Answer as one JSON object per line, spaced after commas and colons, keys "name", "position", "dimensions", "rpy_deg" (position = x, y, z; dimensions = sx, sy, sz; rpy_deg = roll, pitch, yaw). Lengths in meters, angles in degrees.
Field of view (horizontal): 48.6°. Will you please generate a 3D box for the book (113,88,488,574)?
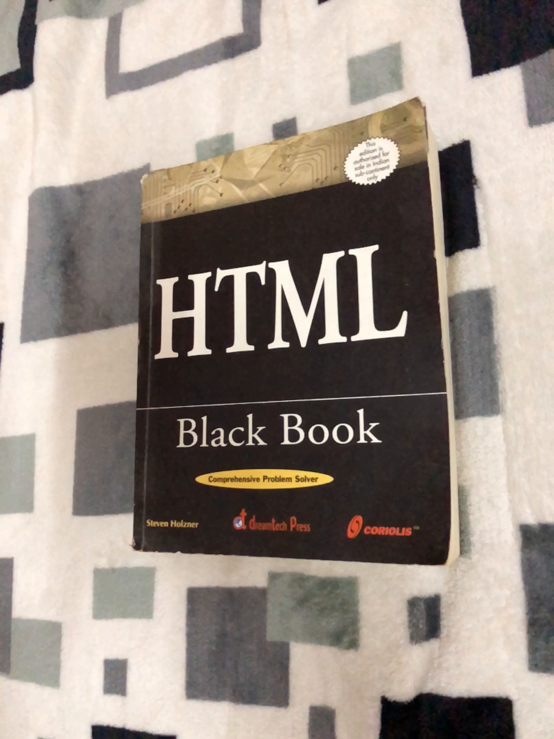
{"name": "book", "position": [0.009, -0.012, 0.353], "dimensions": [0.190, 0.070, 0.230], "rpy_deg": [-6, 78, 24]}
